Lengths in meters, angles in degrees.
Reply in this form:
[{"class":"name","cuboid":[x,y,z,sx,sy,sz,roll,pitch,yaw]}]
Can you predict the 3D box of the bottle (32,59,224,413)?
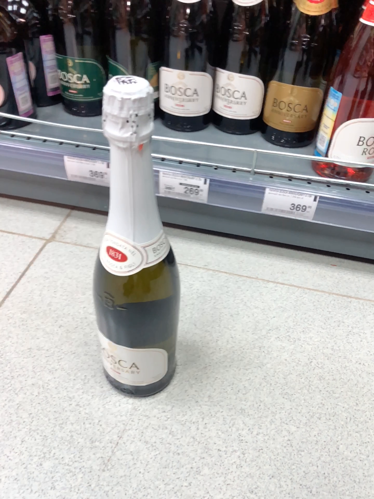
[{"class":"bottle","cuboid":[-0.044,0.011,0.373,0.090,0.308,0.090,2,40,-2]}]
